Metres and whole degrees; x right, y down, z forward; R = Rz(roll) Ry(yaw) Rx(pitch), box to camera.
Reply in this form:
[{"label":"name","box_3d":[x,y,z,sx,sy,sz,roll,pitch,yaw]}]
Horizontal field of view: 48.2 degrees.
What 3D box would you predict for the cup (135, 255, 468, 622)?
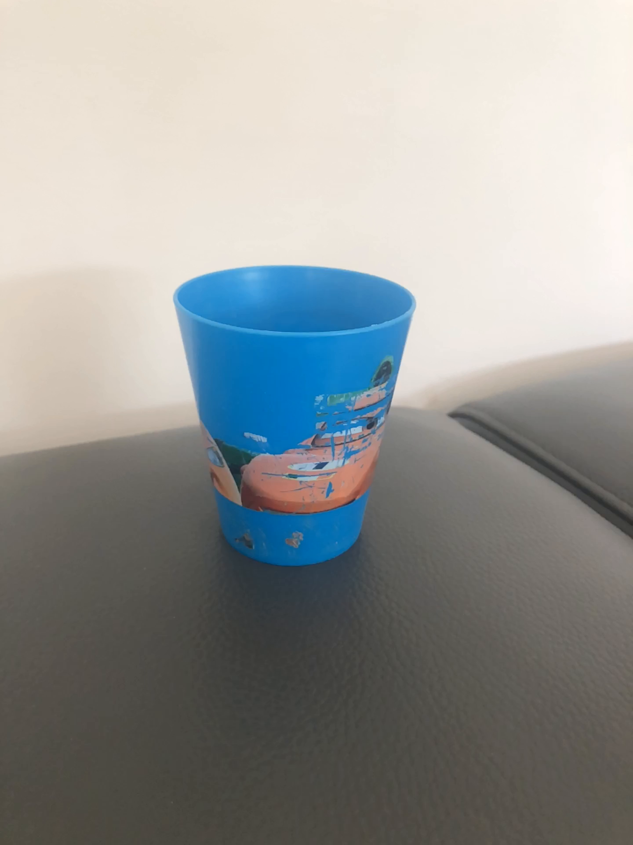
[{"label":"cup","box_3d":[-0.011,-0.002,0.247,0.080,0.089,0.080,3,26,-2]}]
